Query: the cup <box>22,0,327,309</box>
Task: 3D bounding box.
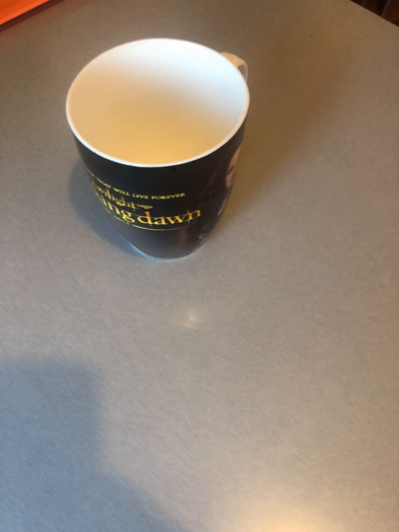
[{"bbox_3d":[-0.007,-0.067,0.261,0.090,0.100,0.130,31,67,16],"label":"cup"}]
